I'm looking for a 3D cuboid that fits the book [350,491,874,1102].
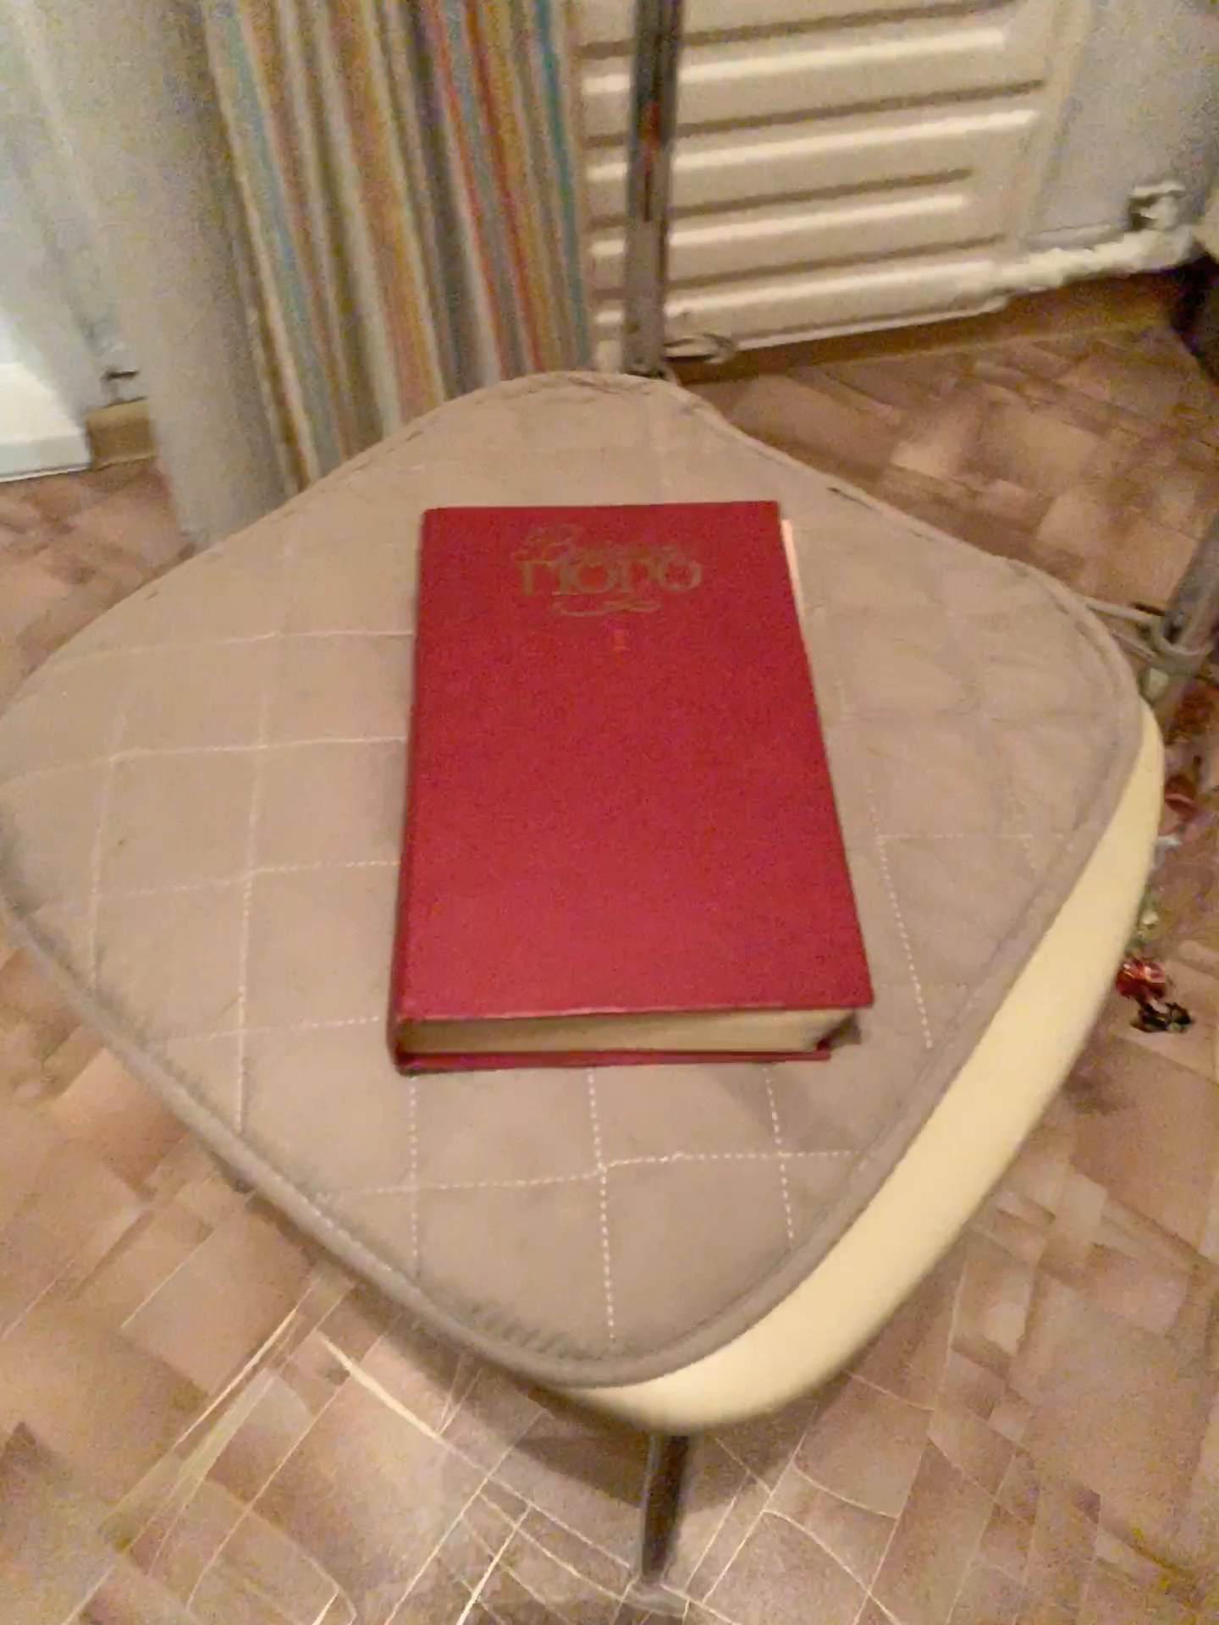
[{"bbox_3d":[-0.004,-0.014,0.413,0.140,0.060,0.201,-2,55,-2],"label":"book"}]
